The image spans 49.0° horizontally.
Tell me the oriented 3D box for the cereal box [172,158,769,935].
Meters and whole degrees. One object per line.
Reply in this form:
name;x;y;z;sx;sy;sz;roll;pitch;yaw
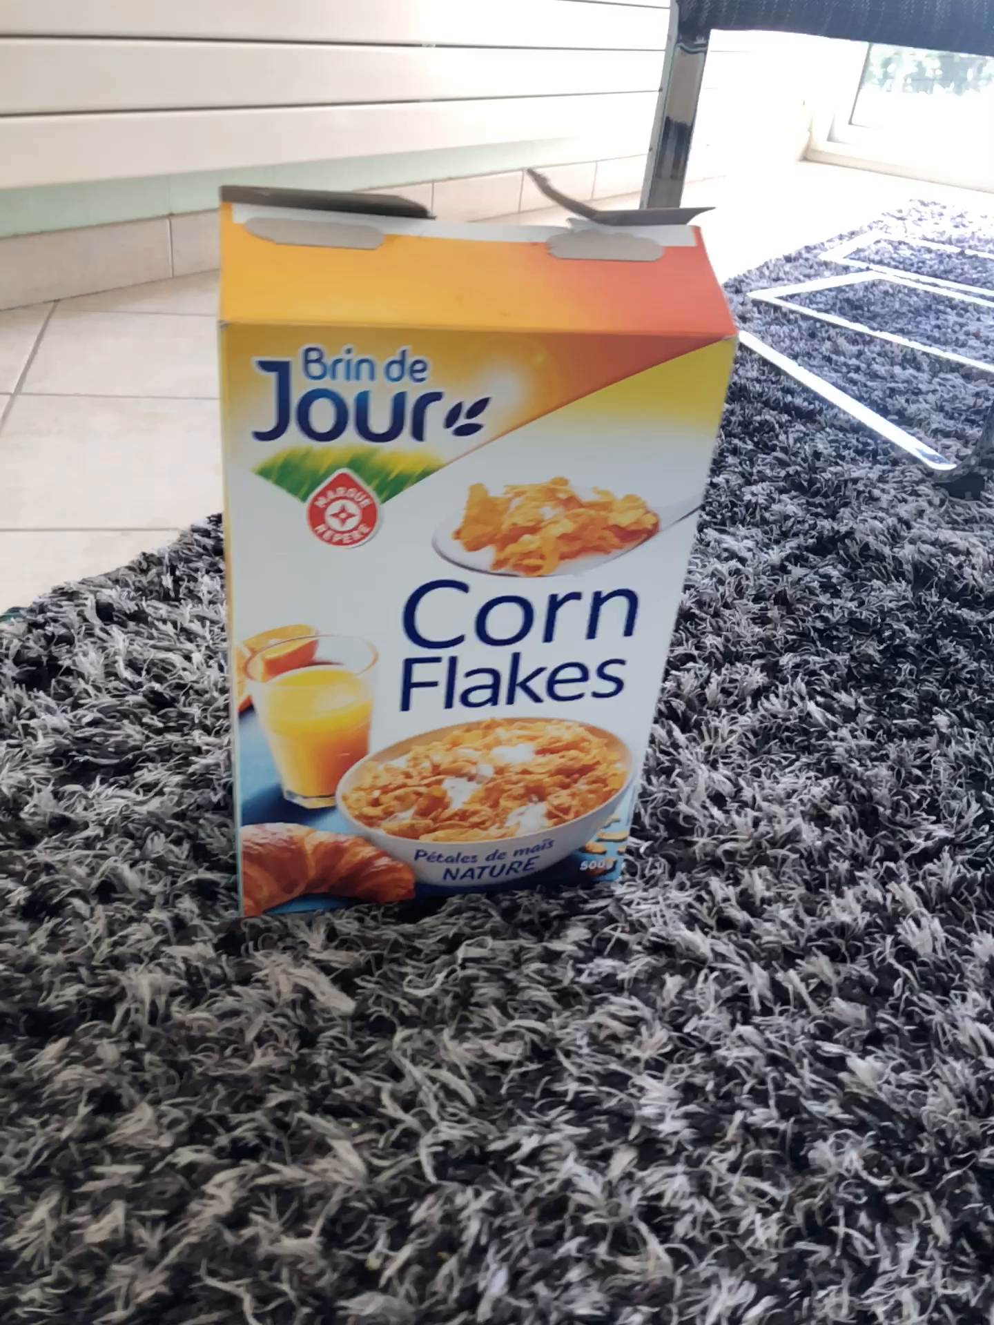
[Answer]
cereal box;-0.029;-0.037;0.478;0.200;0.308;0.100;-2;33;-15
